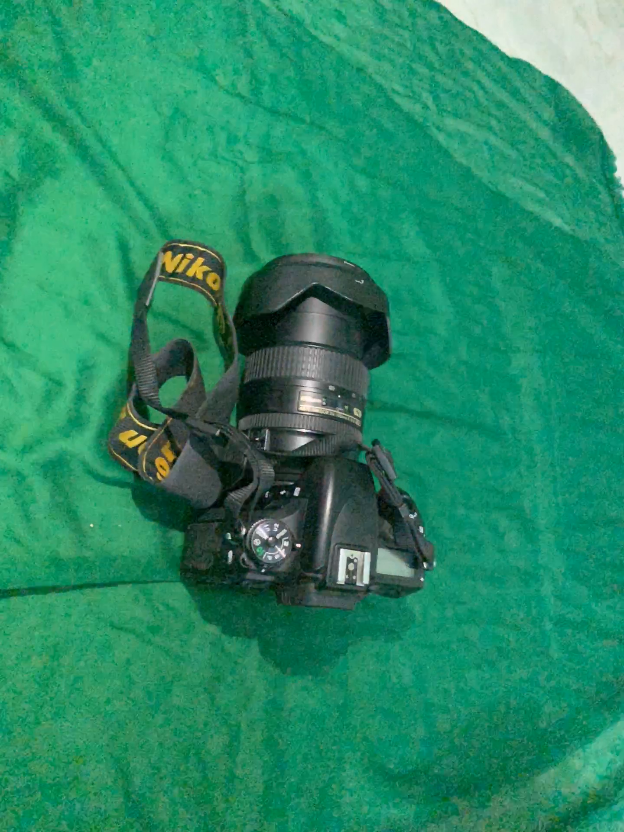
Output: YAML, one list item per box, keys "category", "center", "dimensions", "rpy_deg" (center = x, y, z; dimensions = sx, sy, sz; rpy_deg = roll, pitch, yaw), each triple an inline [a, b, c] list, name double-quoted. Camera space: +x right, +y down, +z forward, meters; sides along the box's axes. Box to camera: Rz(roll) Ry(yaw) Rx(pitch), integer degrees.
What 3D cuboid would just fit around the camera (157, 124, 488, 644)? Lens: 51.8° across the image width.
- category: "camera"
  center: [0.020, -0.010, 0.429]
  dimensions: [0.170, 0.100, 0.290]
  rpy_deg: [17, 68, -30]
